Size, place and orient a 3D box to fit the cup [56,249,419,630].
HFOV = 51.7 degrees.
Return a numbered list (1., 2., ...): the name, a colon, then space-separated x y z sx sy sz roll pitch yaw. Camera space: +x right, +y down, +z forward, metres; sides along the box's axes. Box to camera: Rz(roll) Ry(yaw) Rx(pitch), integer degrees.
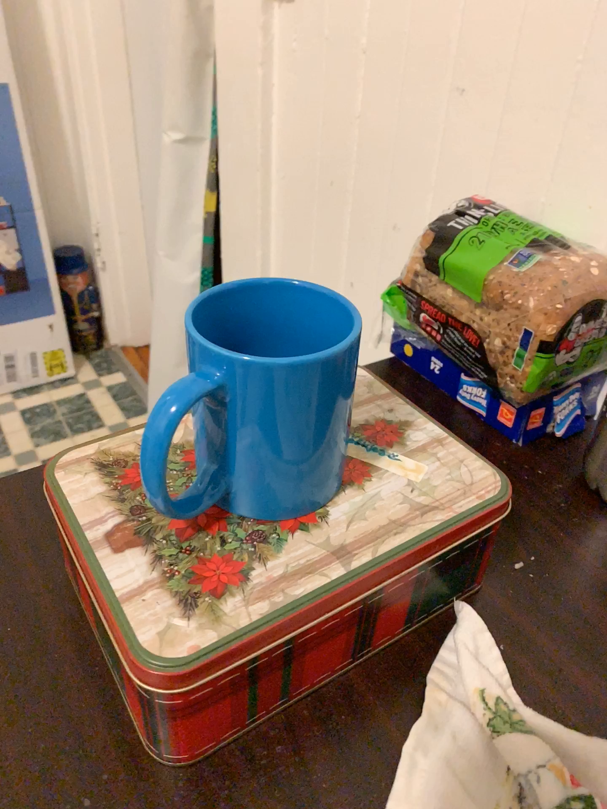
1. cup: -0.023 0.005 0.292 0.090 0.099 0.130 23 40 26
